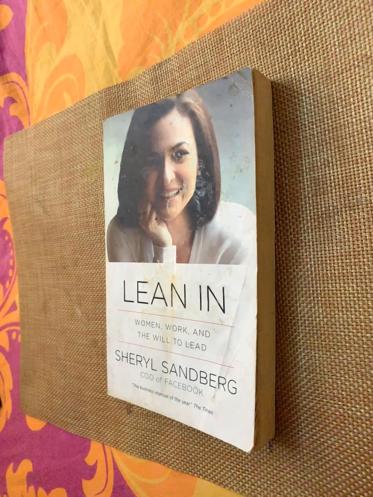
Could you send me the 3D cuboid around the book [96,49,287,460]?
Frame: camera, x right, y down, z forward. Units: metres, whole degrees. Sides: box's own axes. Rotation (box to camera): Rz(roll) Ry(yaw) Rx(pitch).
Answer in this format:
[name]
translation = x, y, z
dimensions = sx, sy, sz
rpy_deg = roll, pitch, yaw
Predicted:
[book]
translation = -0.007, 0.003, 0.257
dimensions = 0.141, 0.026, 0.212
rpy_deg = -3, 87, 42
